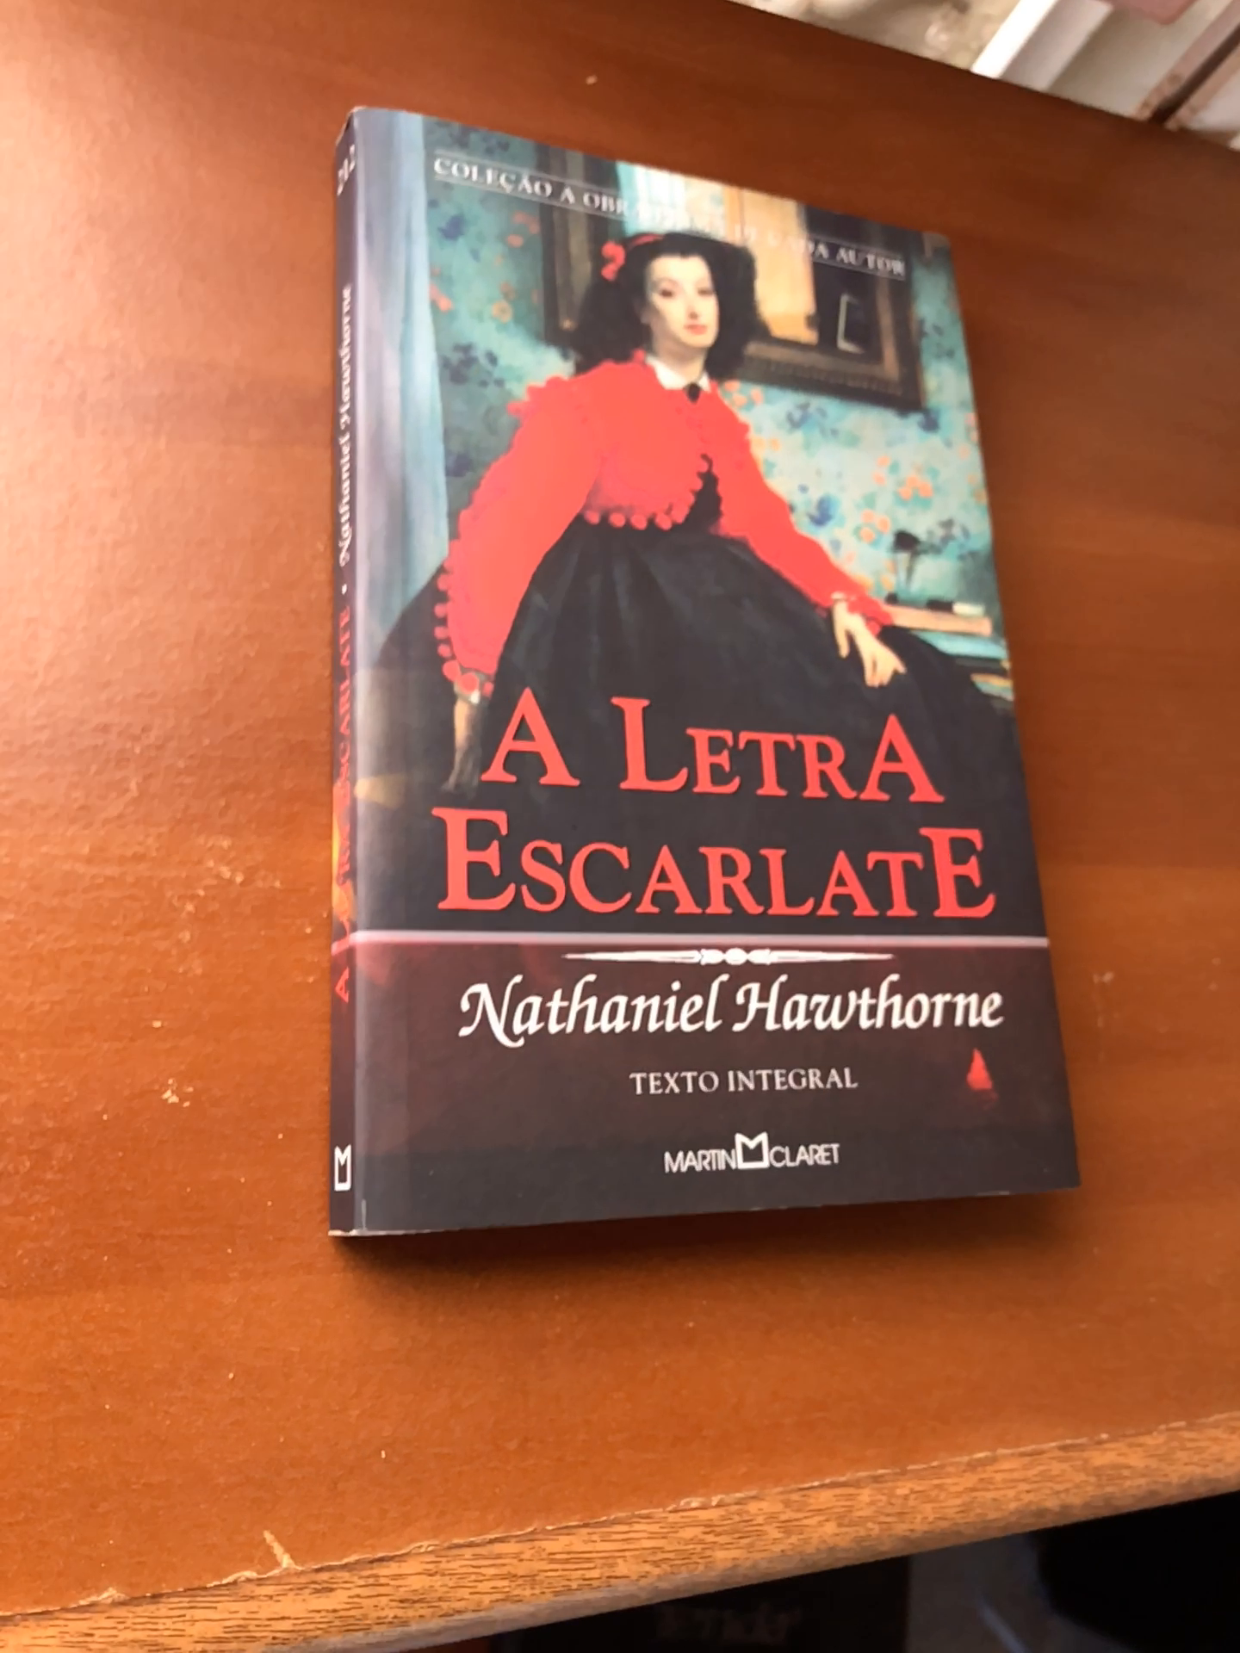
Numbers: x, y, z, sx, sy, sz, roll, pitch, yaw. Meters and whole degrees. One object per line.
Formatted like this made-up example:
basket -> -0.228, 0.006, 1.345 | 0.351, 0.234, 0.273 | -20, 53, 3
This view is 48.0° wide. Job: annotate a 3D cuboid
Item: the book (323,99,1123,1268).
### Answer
book -> 0.013, -0.024, 0.211 | 0.112, 0.015, 0.166 | 3, 74, -20
